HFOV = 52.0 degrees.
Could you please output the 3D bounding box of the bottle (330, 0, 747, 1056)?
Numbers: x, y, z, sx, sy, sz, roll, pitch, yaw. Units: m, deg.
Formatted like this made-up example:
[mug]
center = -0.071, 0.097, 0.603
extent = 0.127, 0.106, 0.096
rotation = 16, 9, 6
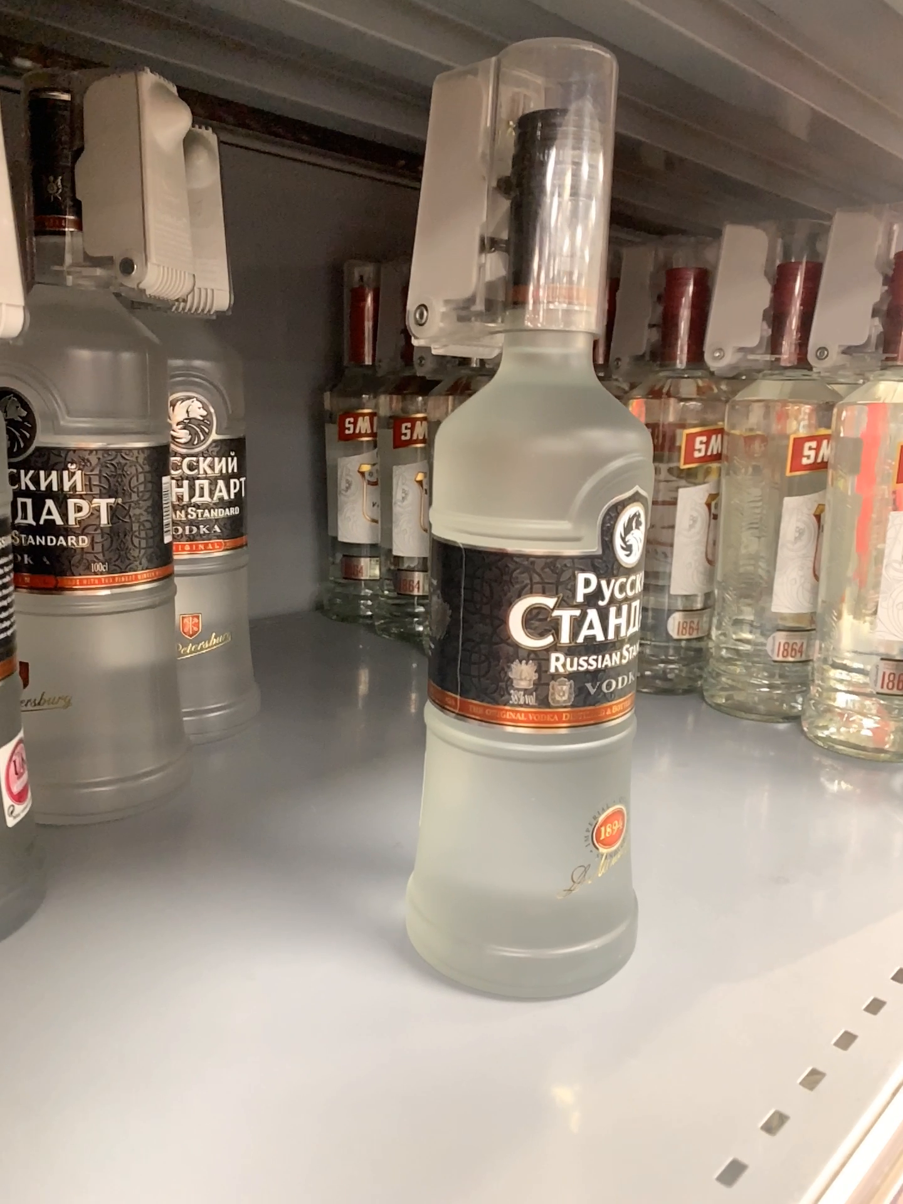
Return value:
[bottle]
center = 0.023, -0.020, 0.311
extent = 0.092, 0.289, 0.088
rotation = 2, 11, 0
